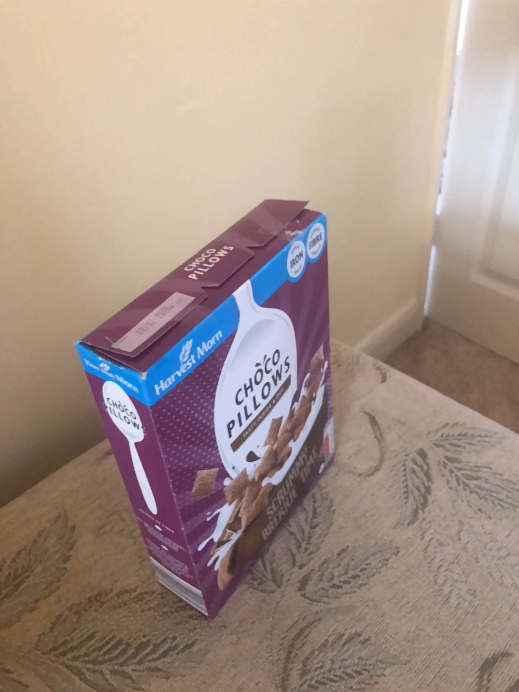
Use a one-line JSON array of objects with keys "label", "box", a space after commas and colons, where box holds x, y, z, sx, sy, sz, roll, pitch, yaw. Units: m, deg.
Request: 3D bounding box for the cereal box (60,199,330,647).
[{"label": "cereal box", "box": [-0.020, 0.062, 0.445, 0.060, 0.278, 0.201, 18, 44, 26]}]
